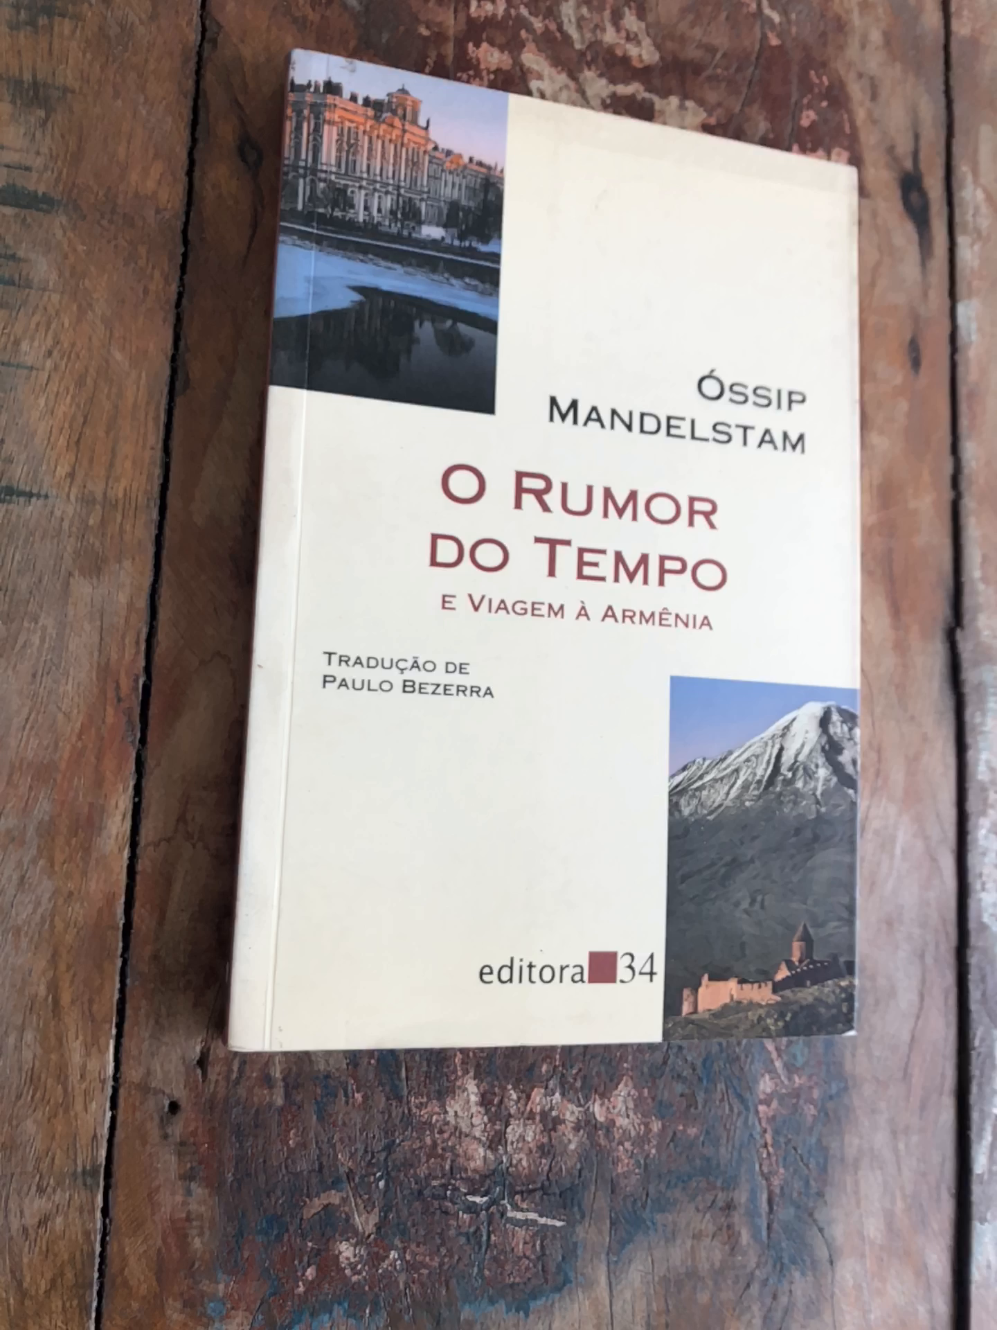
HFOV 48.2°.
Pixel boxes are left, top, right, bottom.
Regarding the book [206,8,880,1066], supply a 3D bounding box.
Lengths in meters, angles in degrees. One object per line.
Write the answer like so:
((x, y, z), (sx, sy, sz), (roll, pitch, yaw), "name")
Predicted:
((0.015, -0.025, 0.243), (0.140, 0.022, 0.207), (4, 84, -15), "book")
